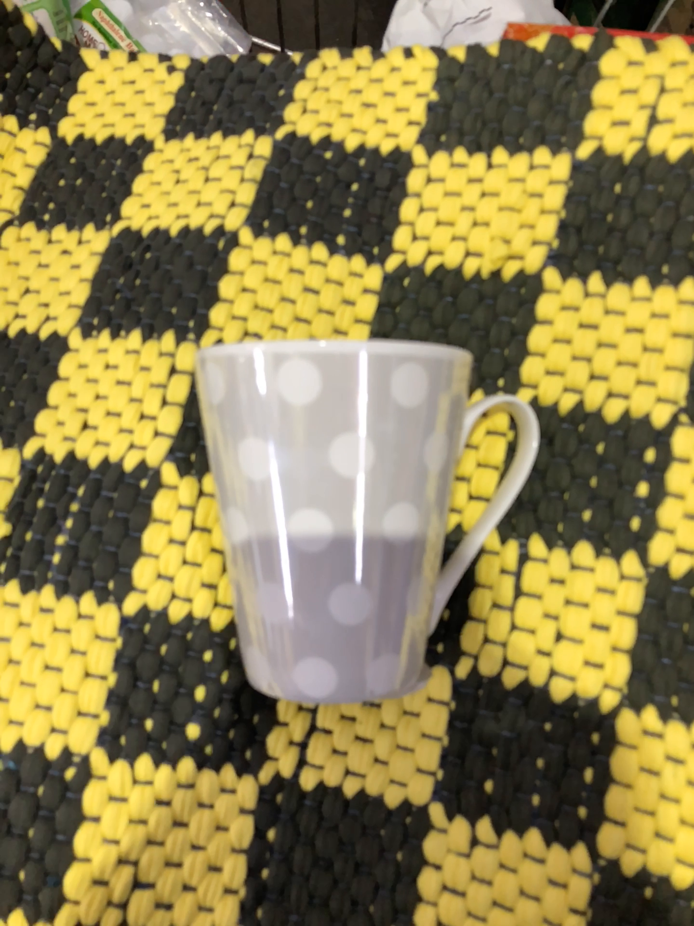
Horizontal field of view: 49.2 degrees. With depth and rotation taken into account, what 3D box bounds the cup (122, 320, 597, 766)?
[{"bbox_3d":[0.003,0.016,0.241,0.120,0.090,0.100,-1,92,-37],"label":"cup"}]
